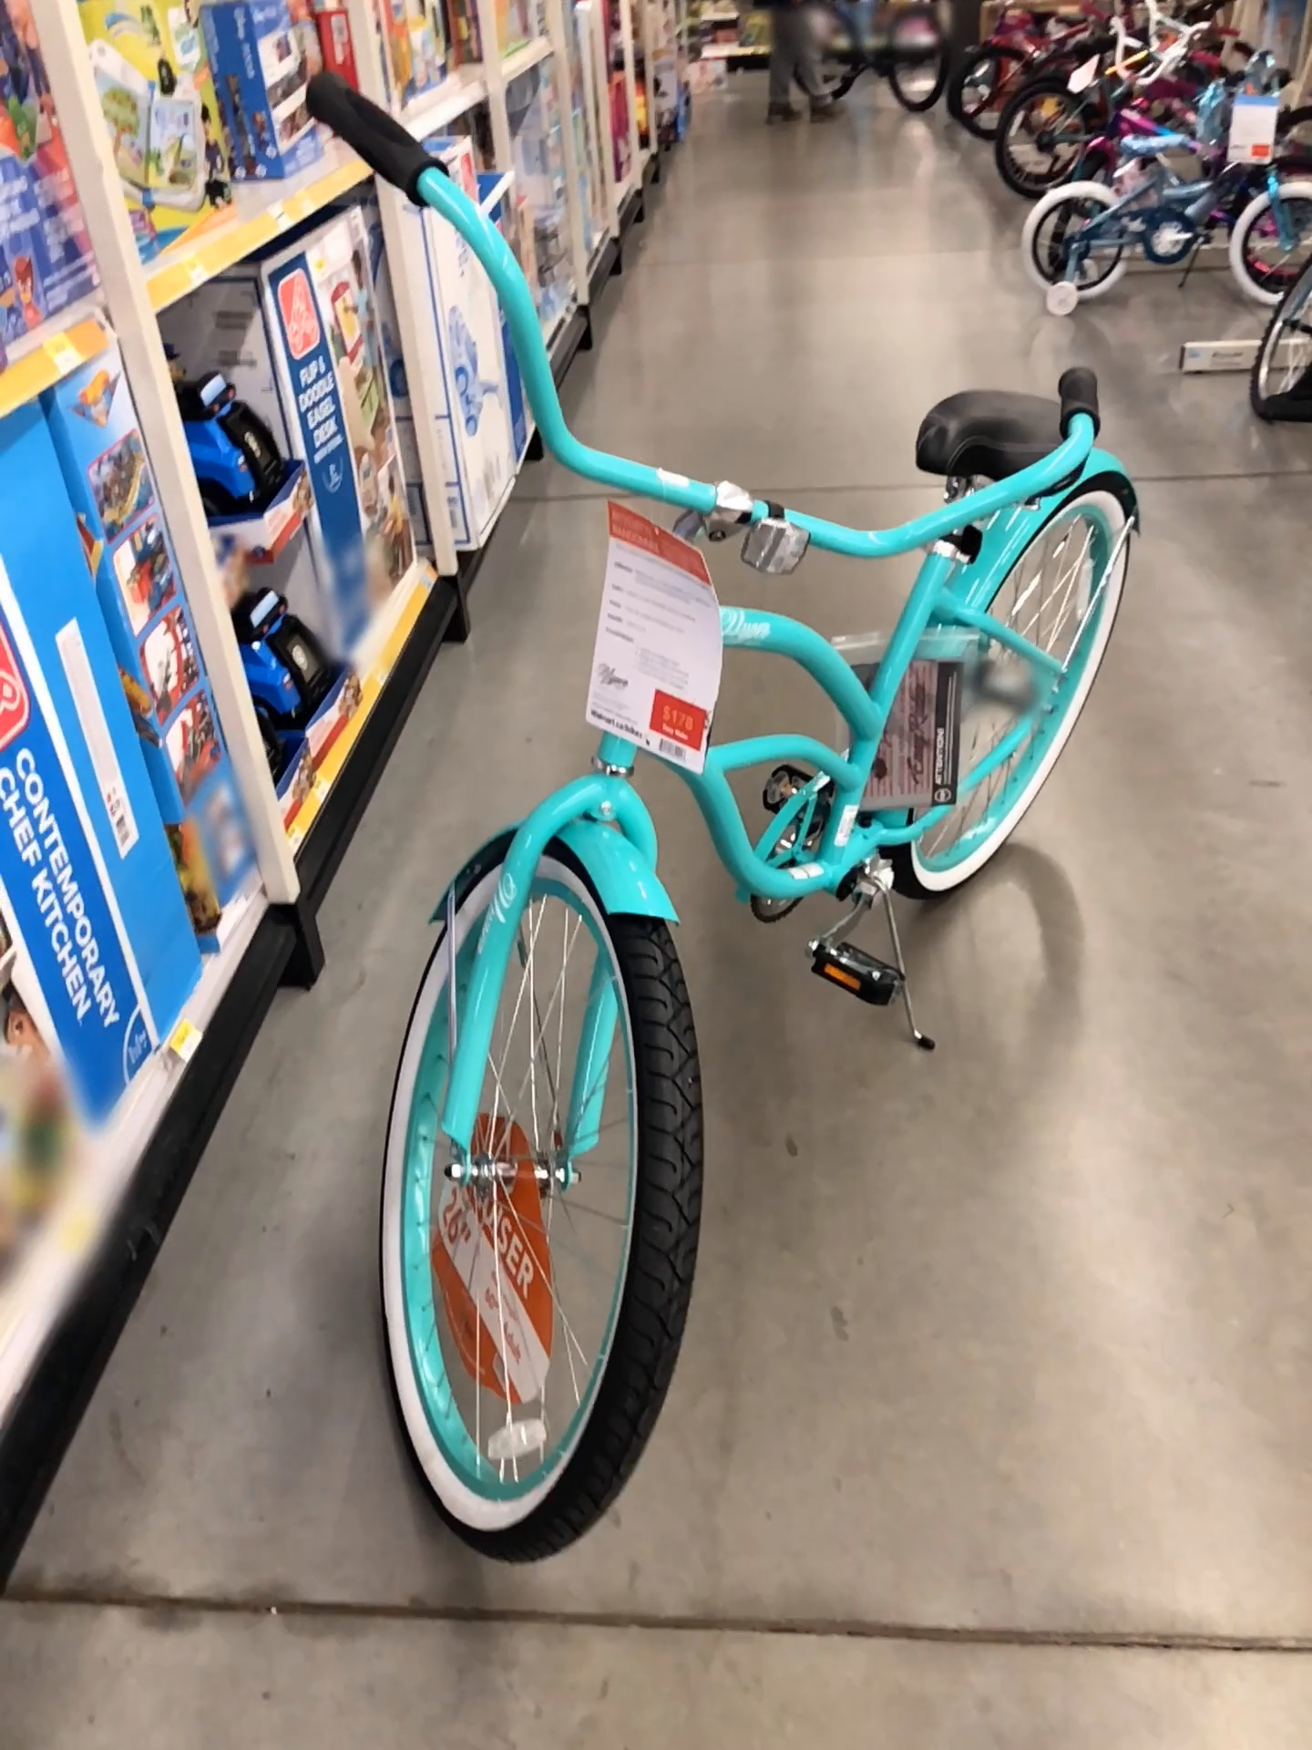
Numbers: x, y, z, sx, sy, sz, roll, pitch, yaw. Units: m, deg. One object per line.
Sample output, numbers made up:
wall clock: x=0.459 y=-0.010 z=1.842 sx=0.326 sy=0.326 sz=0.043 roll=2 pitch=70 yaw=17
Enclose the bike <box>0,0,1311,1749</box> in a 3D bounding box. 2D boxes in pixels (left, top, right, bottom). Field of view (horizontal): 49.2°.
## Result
bike: x=0.271 y=-0.128 z=1.474 sx=0.759 sy=1.143 sz=1.499 roll=14 pitch=41 yaw=26
